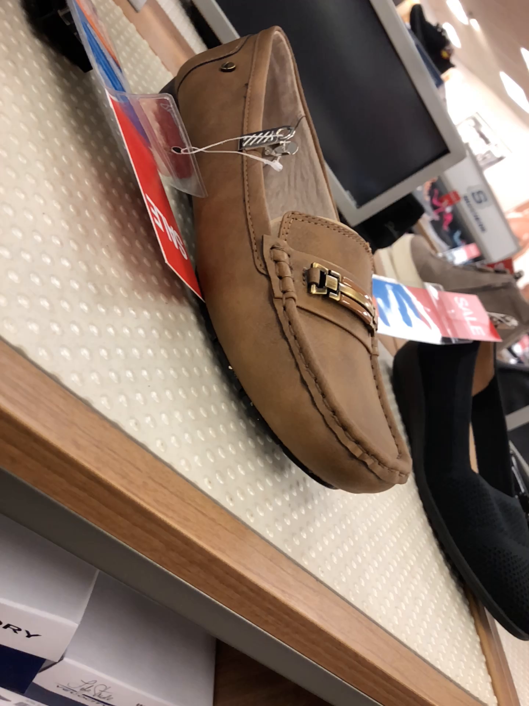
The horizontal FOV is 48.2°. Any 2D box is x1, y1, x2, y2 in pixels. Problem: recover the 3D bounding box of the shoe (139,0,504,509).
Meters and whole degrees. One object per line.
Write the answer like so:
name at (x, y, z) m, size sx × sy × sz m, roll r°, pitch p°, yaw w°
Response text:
shoe at (0.020, -0.052, 0.294) m, size 0.087 × 0.079 × 0.235 m, roll 25°, pitch 41°, yaw -57°
